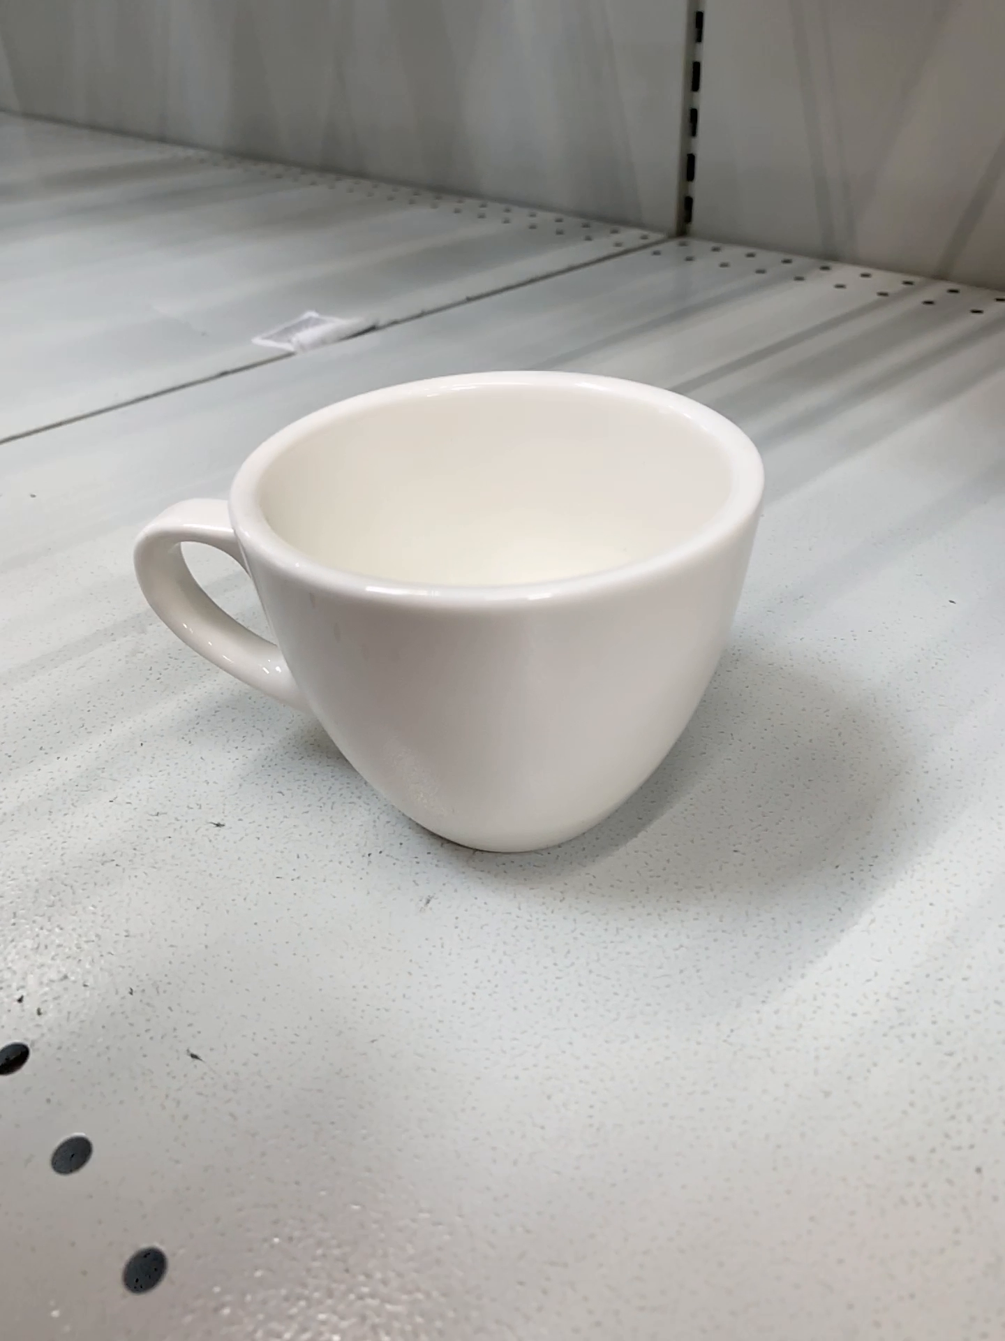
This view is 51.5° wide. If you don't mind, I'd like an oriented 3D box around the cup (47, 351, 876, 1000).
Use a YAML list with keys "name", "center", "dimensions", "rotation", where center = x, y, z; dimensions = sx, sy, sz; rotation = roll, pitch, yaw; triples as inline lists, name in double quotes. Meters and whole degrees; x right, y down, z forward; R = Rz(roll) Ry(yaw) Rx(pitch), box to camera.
- name: "cup"
  center: [0.001, -0.010, 0.213]
  dimensions: [0.128, 0.072, 0.097]
  rotation: [10, 36, 17]
